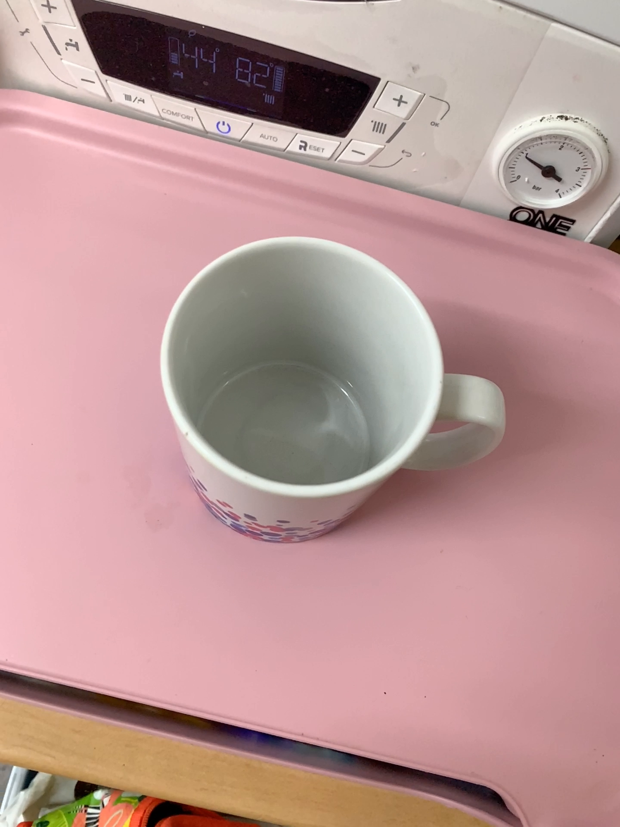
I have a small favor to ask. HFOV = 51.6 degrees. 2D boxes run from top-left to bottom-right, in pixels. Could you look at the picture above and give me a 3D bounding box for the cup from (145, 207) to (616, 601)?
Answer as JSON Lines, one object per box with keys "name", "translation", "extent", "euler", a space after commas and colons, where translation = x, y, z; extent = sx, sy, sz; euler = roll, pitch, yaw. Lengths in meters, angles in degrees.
{"name": "cup", "translation": [0.019, 0.005, 0.217], "extent": [0.120, 0.090, 0.080], "euler": [12, 64, -4]}
